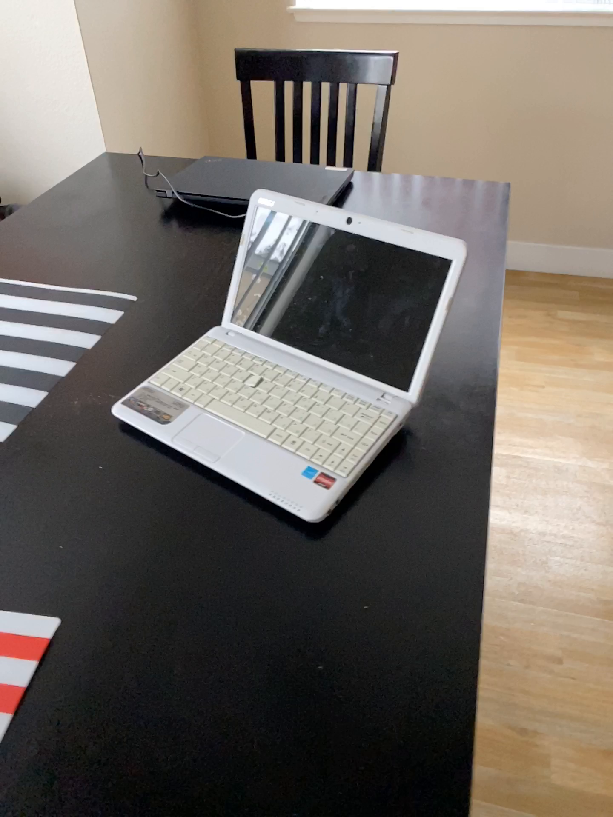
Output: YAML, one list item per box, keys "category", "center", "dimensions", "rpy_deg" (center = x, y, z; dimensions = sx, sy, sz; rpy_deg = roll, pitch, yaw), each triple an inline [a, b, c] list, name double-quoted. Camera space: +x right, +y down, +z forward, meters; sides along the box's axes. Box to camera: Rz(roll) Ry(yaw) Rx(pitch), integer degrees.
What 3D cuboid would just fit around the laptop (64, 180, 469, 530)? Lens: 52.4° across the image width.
- category: "laptop"
  center: [-0.034, -0.088, 0.686]
  dimensions: [0.295, 0.153, 0.302]
  rpy_deg: [24, 50, 27]
